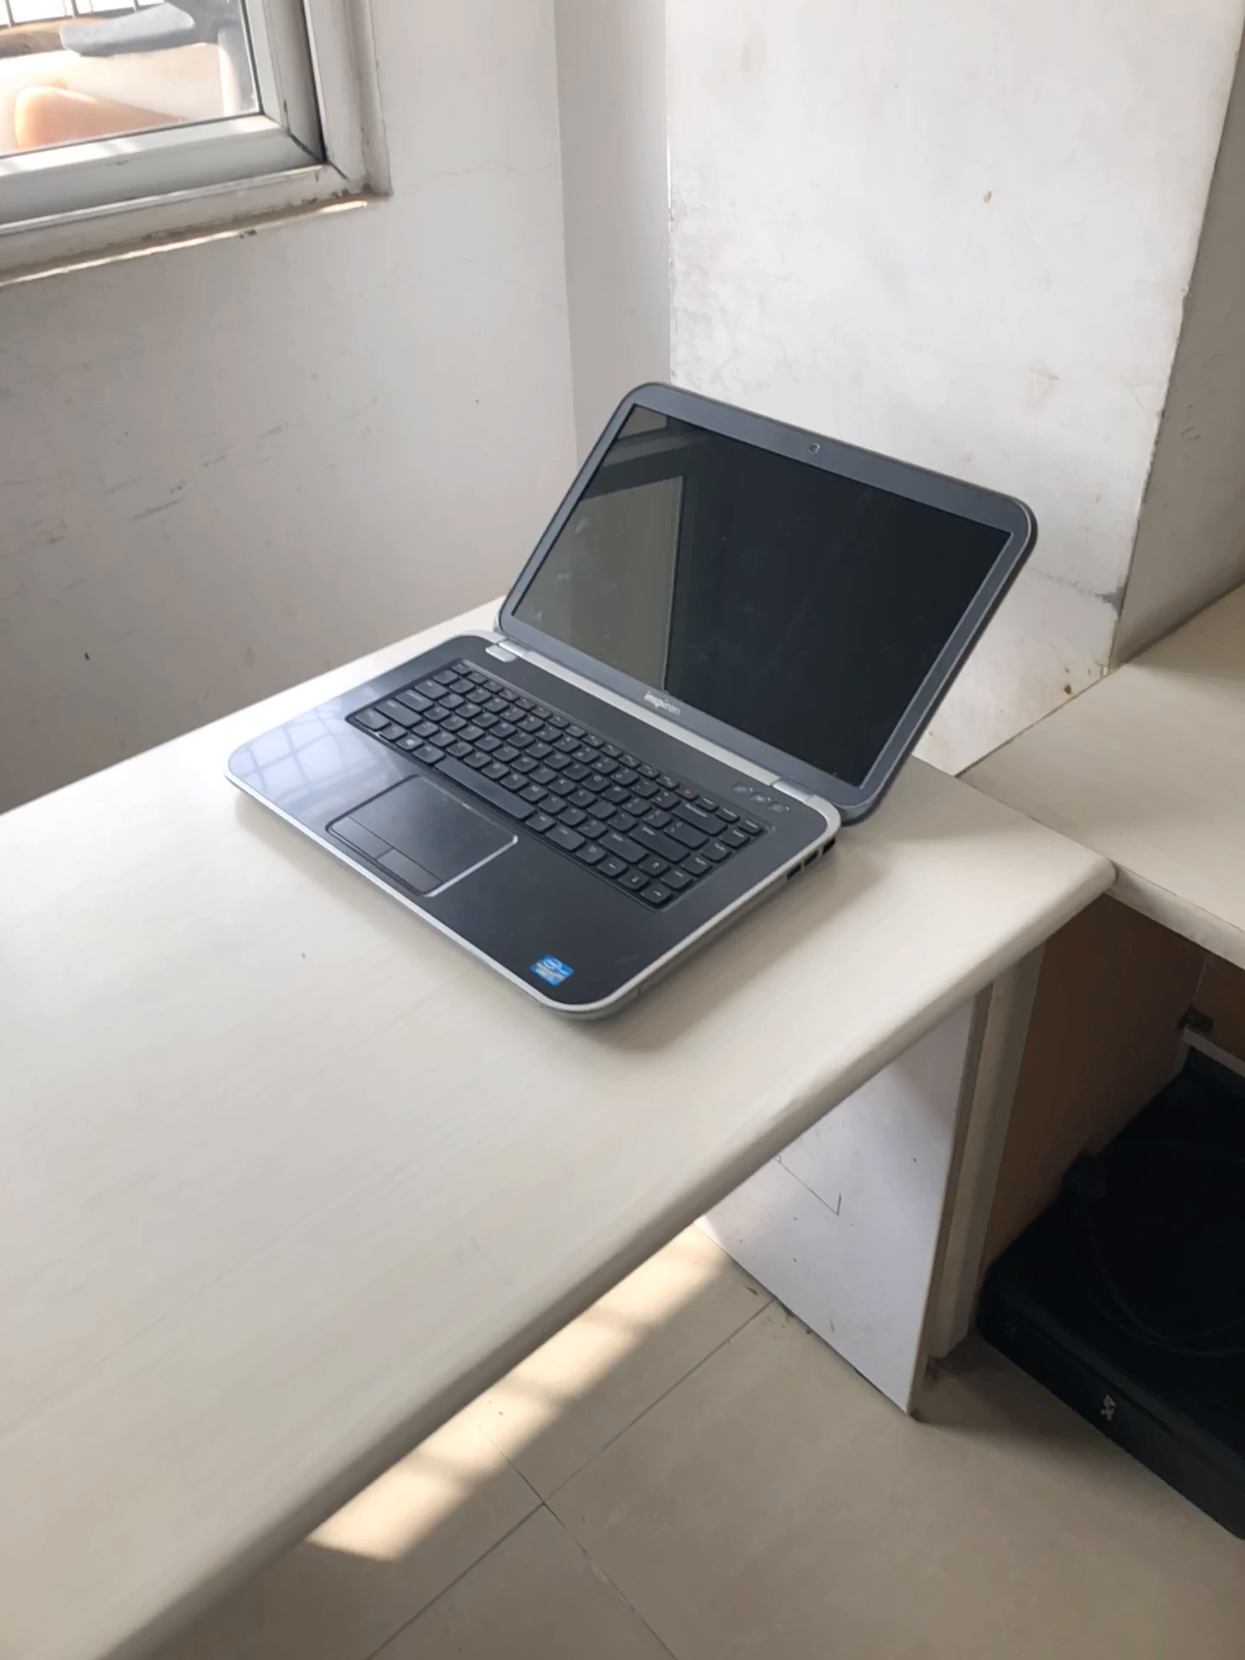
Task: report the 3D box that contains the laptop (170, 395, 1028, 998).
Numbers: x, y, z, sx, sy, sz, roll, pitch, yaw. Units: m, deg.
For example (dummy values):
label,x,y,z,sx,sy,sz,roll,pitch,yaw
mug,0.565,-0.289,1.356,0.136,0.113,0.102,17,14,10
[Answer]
label,x,y,z,sx,sy,sz,roll,pitch,yaw
laptop,-0.008,-0.124,0.906,0.342,0.145,0.407,30,48,35
